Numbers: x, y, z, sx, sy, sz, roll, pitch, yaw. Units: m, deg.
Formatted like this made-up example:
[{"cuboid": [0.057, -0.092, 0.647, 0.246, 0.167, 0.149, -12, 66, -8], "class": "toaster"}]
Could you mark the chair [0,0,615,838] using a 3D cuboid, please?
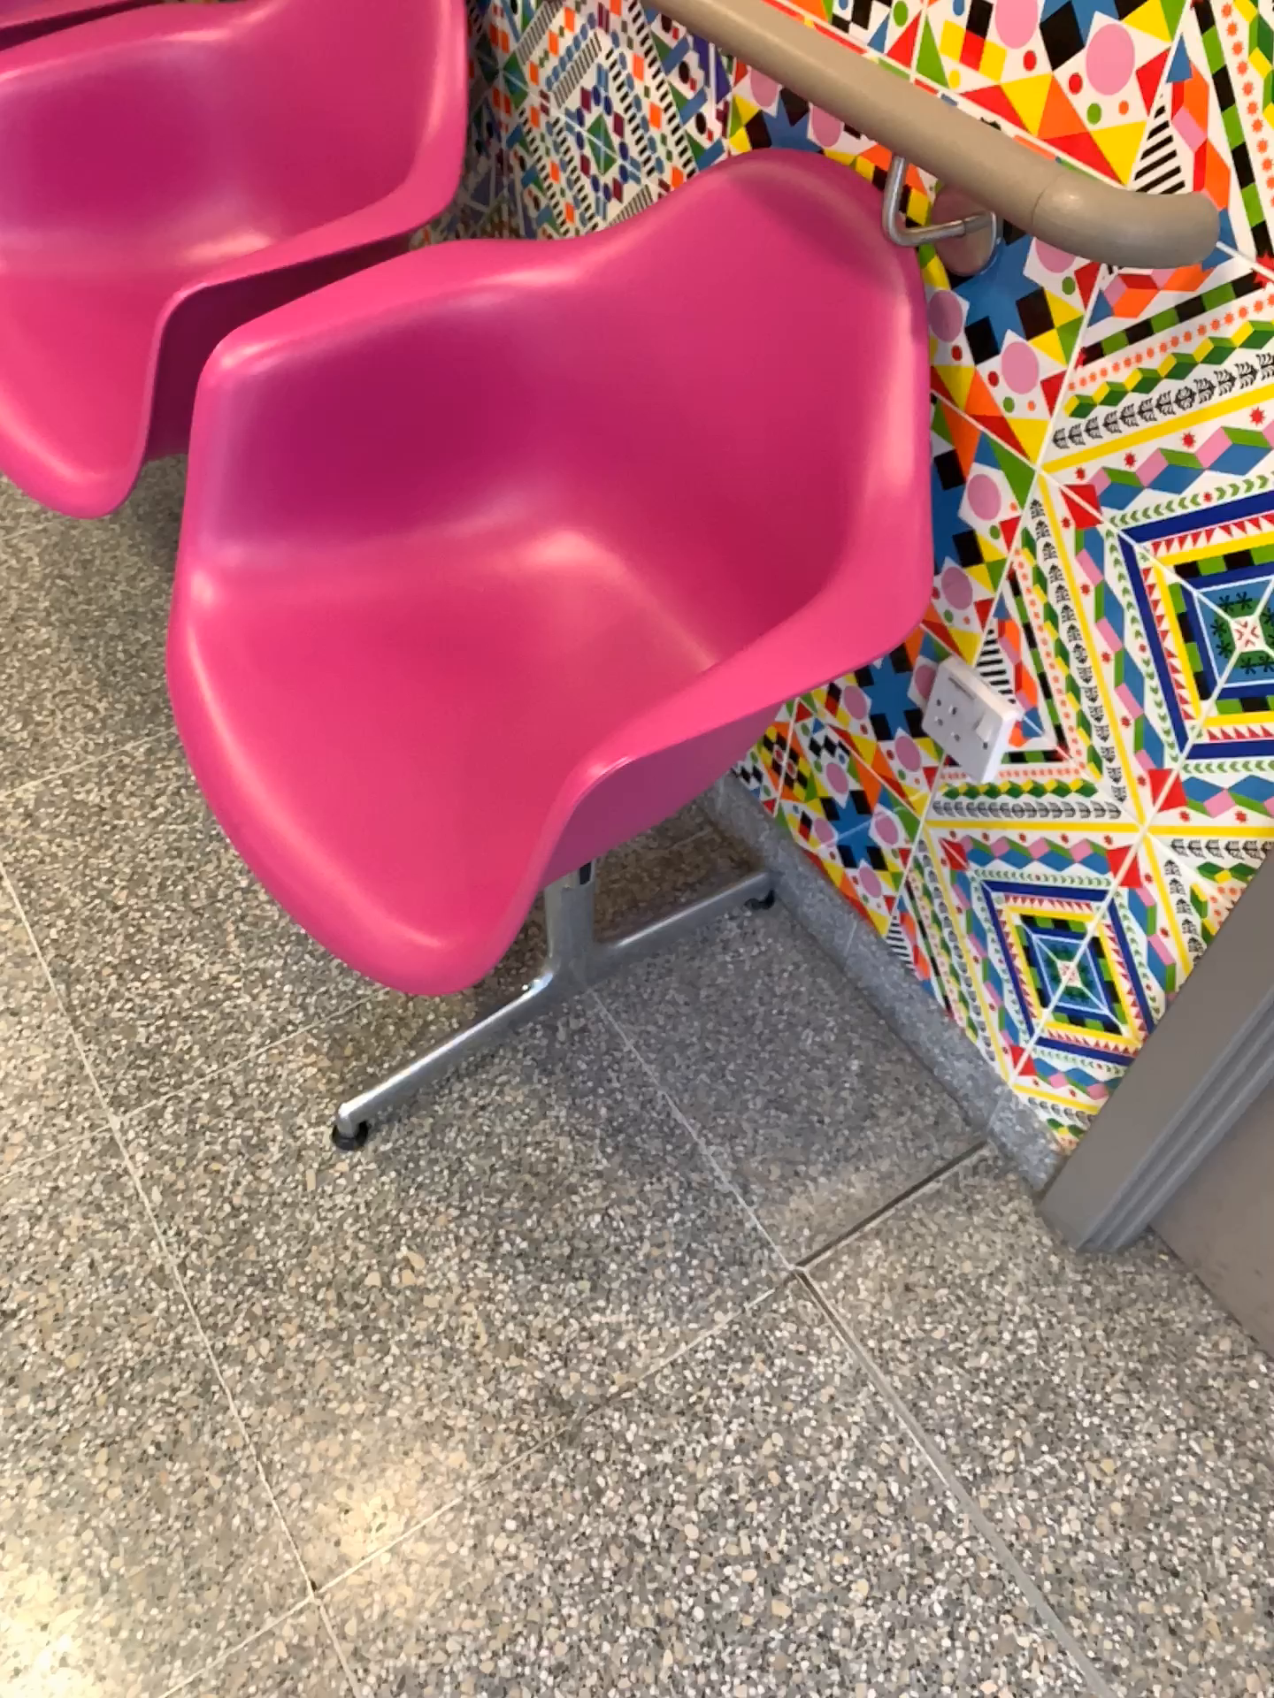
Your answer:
[{"cuboid": [-0.425, -0.547, 1.432, 0.601, 0.763, 0.523, -25, 56, -21], "class": "chair"}]

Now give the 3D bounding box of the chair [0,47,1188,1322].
[{"cuboid": [-0.075, -0.117, 1.108, 0.601, 0.763, 0.523, -25, 56, -21], "class": "chair"}]
